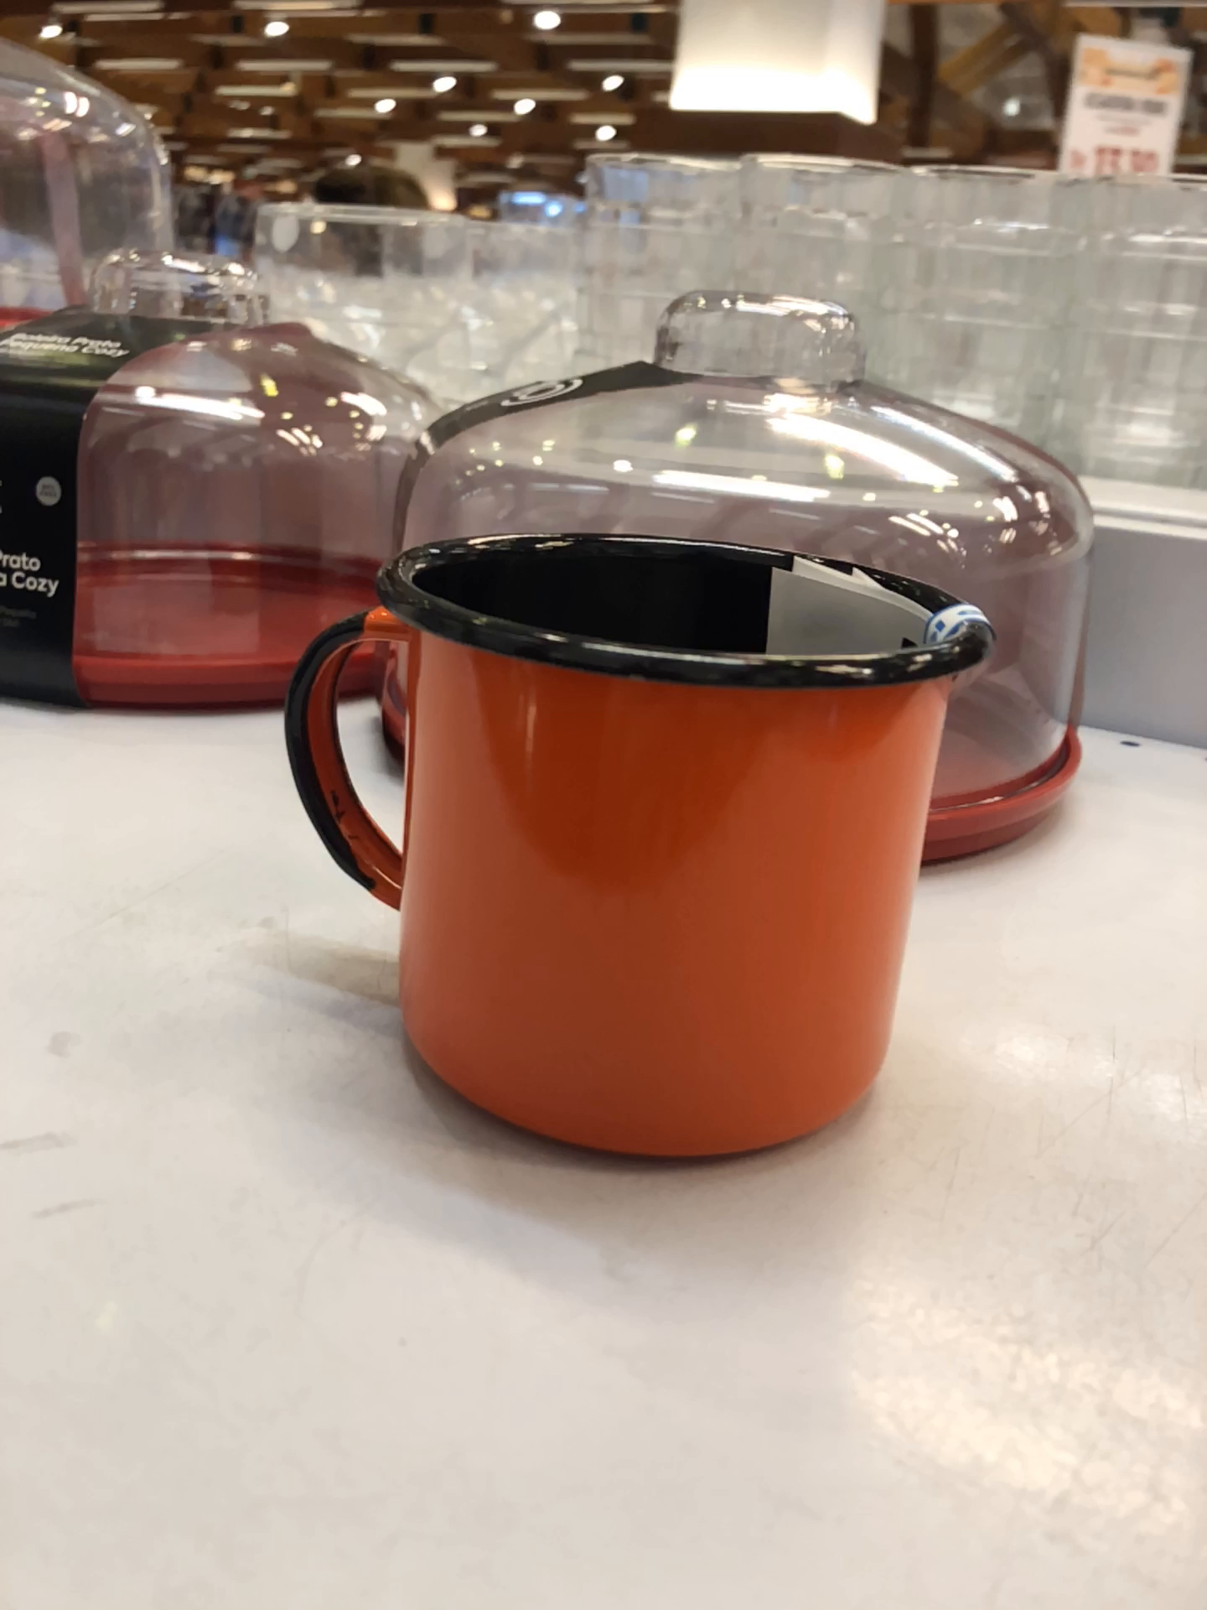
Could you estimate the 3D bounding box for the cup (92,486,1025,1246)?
[{"bbox_3d":[-0.004,-0.003,0.205,0.110,0.070,0.080,13,22,22],"label":"cup"}]
